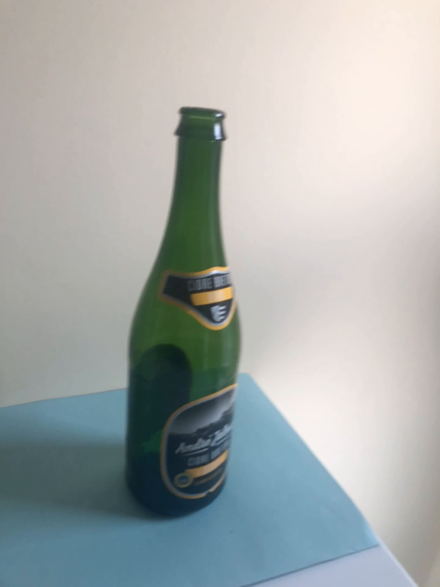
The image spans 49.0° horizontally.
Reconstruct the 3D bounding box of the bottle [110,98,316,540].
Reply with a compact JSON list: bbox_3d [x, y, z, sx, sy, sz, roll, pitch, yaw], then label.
[{"bbox_3d":[-0.016,0.019,0.336,0.090,0.279,0.080,-12,28,-37],"label":"bottle"}]
